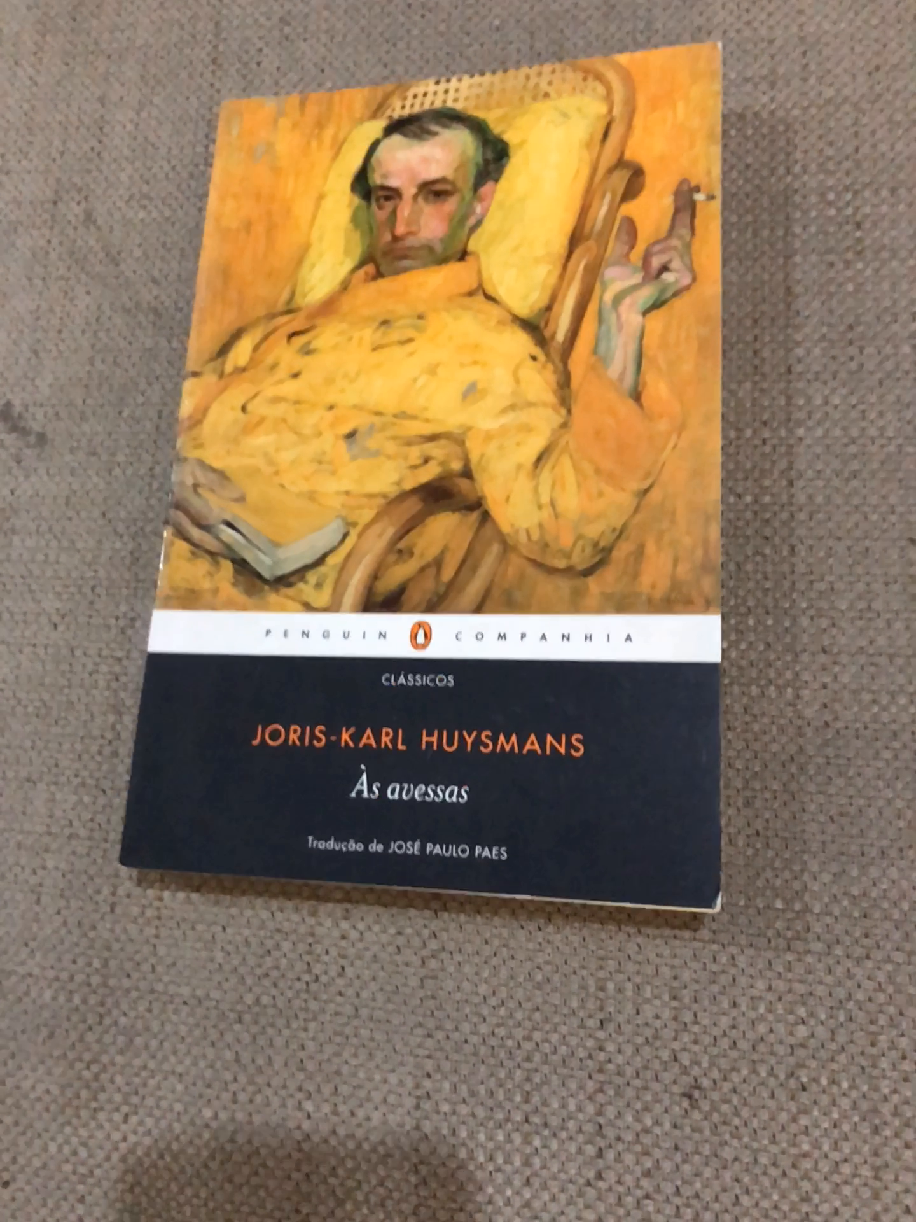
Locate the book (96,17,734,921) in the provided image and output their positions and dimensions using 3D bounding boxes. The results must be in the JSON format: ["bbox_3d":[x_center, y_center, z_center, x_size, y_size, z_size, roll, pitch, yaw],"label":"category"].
[{"bbox_3d":[-0.005,-0.037,0.235,0.130,0.023,0.195,1,77,14],"label":"book"}]
